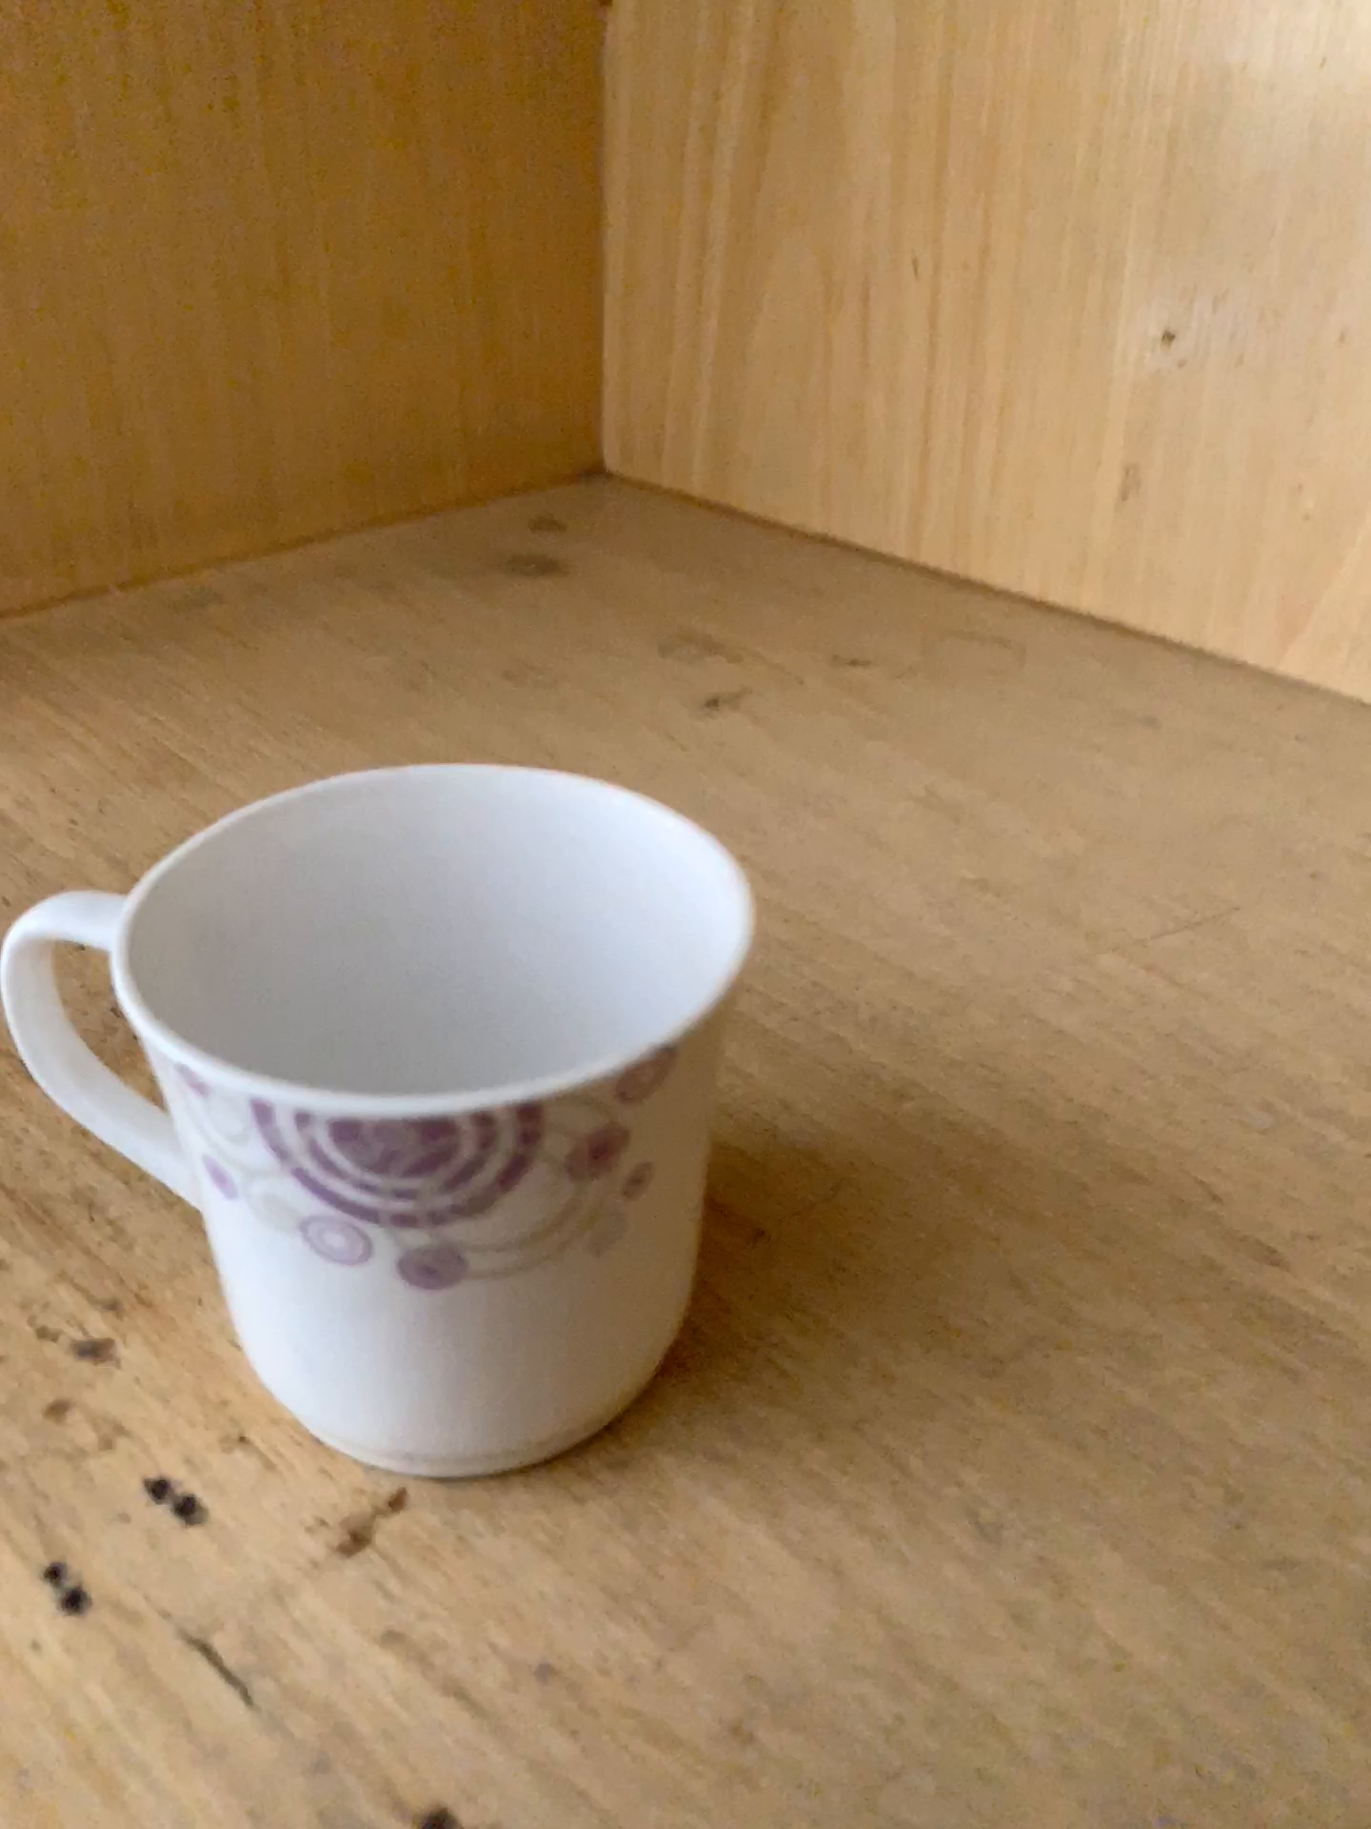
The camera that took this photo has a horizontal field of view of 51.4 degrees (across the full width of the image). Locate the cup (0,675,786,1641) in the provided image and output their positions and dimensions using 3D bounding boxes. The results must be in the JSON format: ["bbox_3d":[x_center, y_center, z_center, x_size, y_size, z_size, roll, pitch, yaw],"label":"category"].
[{"bbox_3d":[-0.041,0.022,0.170,0.090,0.069,0.071,9,32,10],"label":"cup"}]
